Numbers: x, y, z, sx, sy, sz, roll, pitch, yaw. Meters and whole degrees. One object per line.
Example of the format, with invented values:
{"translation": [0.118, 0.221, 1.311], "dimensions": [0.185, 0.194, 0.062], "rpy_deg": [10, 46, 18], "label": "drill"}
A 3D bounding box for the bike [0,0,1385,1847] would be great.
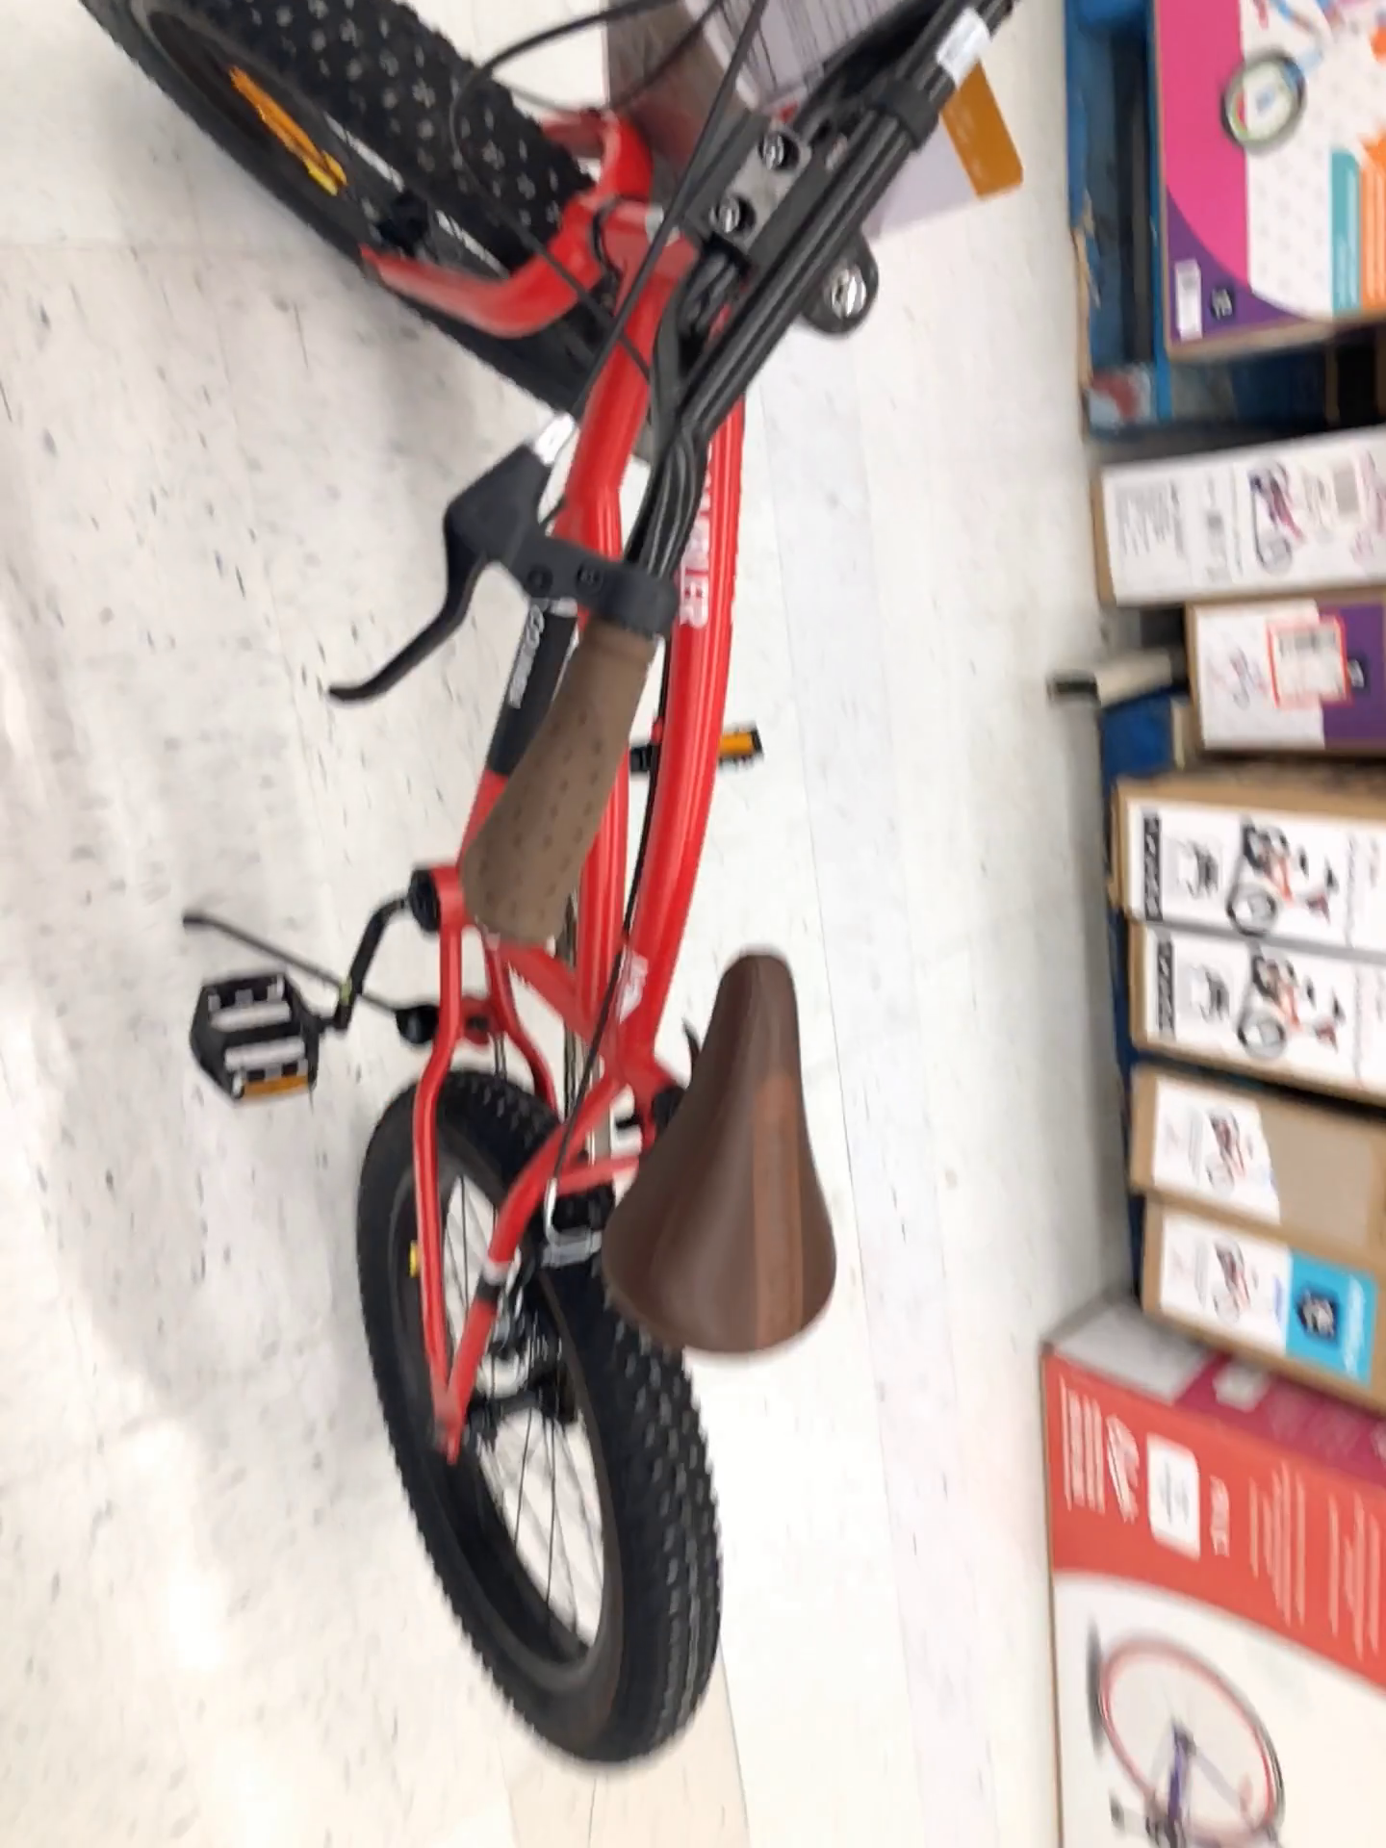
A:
{"translation": [-0.119, -0.005, 1.005], "dimensions": [0.610, 0.969, 1.357], "rpy_deg": [-20, 106, -38], "label": "bike"}
